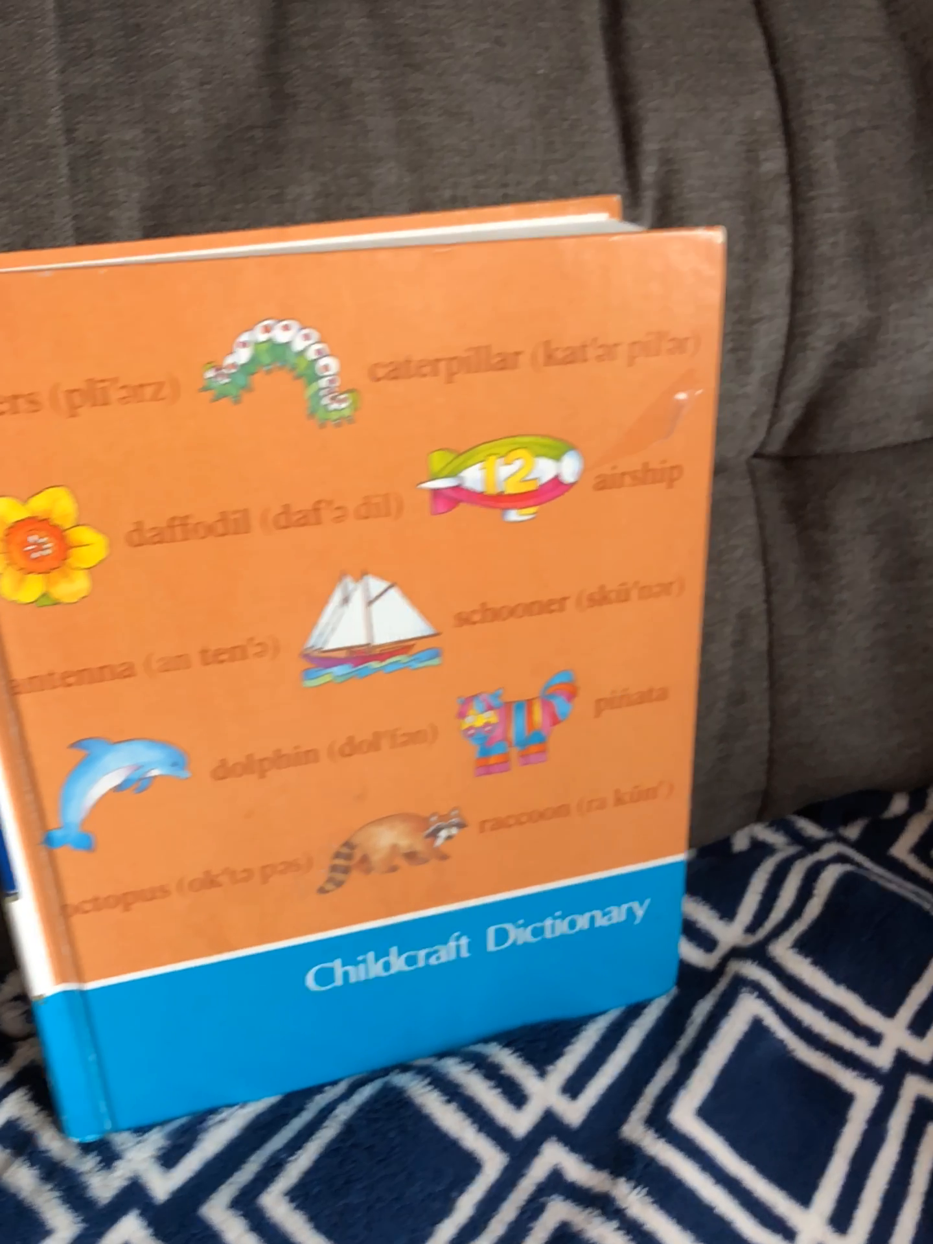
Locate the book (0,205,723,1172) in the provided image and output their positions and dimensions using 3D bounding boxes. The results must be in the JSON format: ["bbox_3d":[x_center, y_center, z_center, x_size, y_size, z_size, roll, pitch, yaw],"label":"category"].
[{"bbox_3d":[-0.040,0.022,0.312,0.210,0.260,0.055,-9,25,-14],"label":"book"}]
